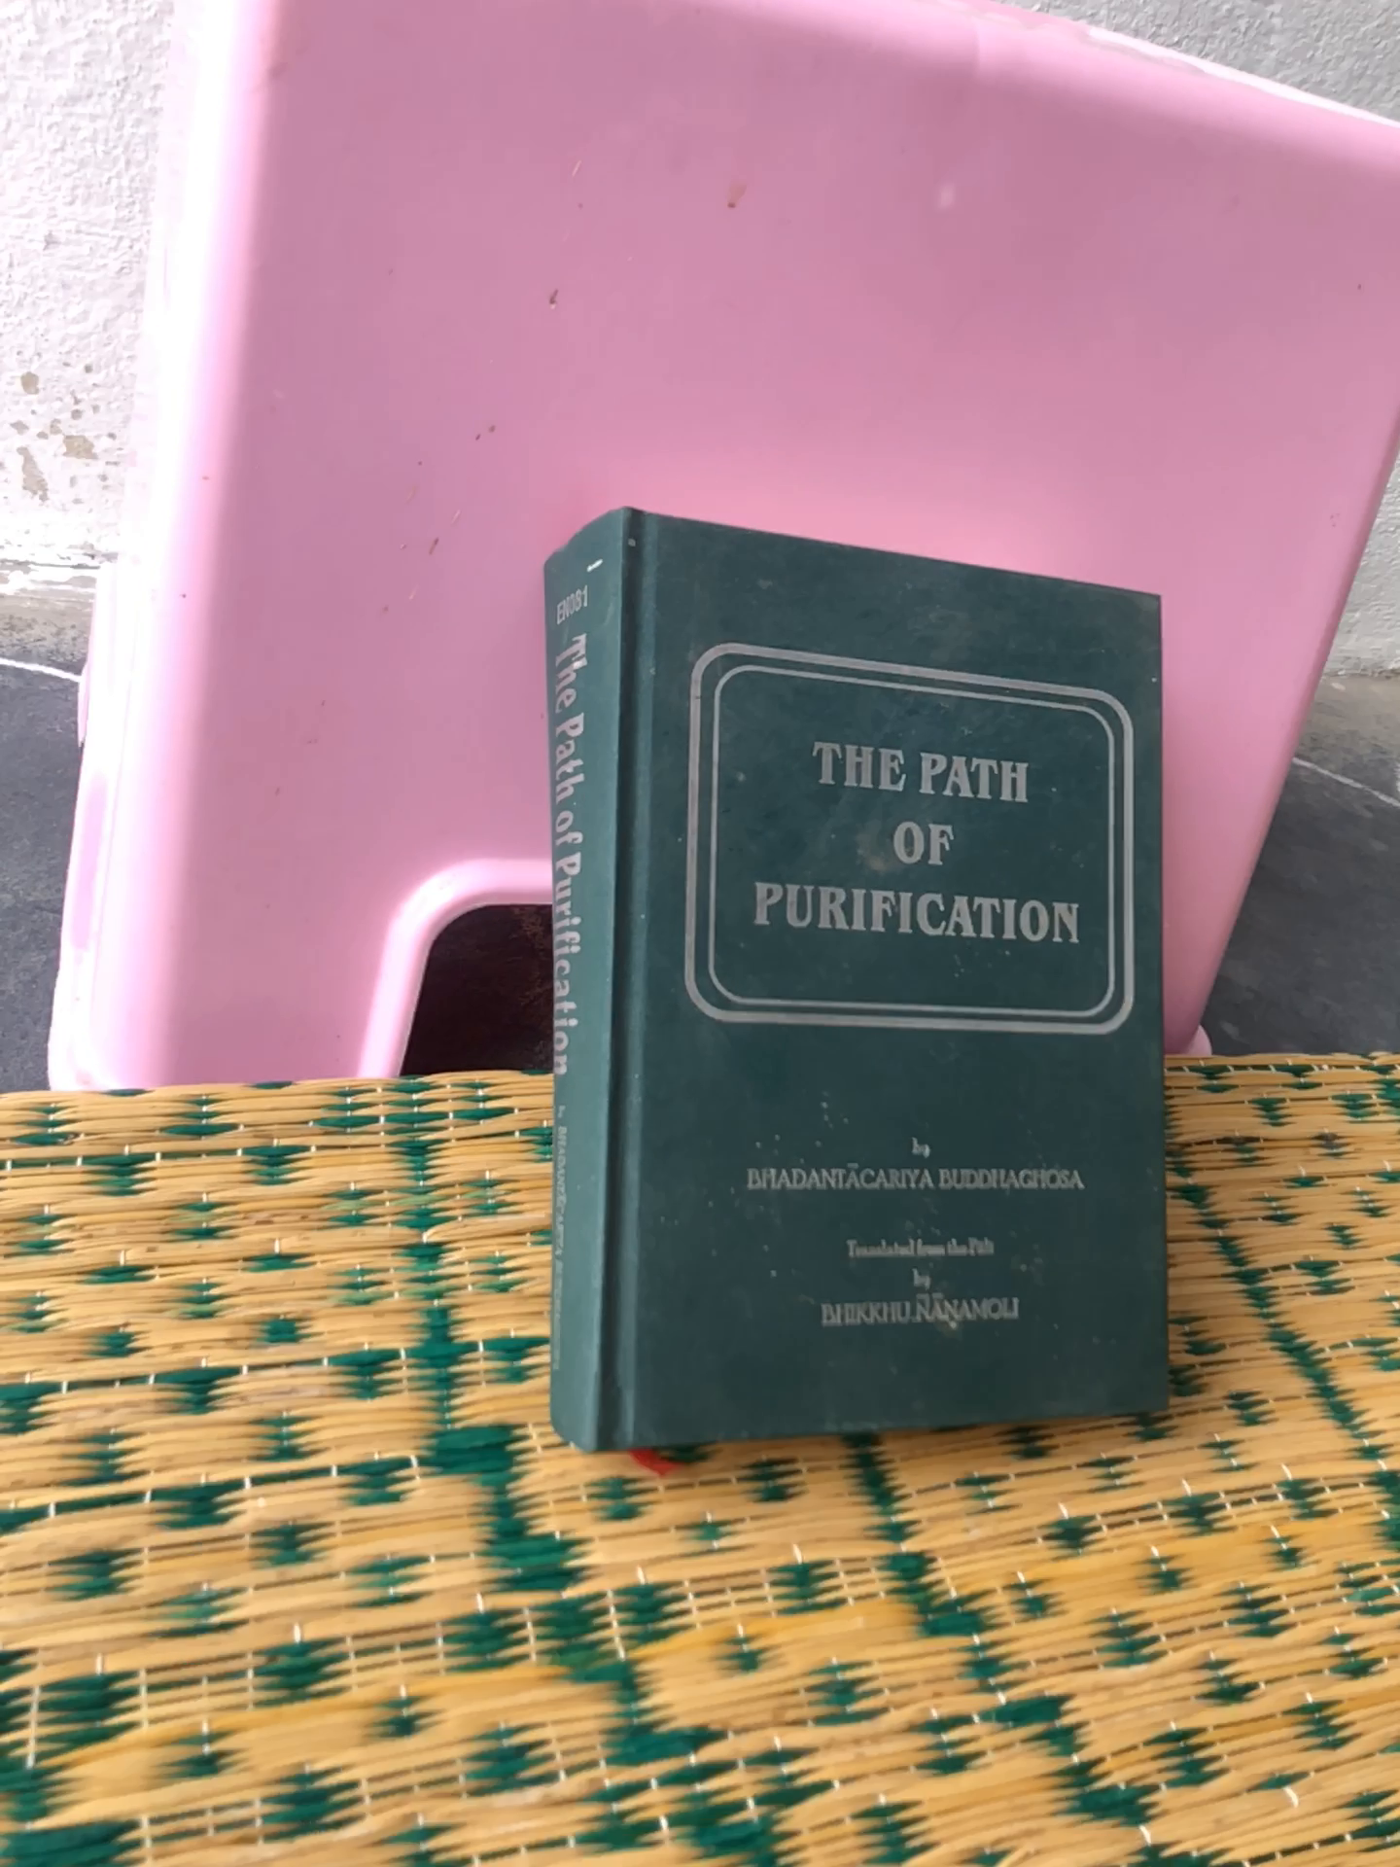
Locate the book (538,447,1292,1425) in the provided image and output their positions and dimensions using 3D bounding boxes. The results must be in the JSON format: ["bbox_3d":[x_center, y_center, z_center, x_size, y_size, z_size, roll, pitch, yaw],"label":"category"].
[{"bbox_3d":[0.047,0.005,0.388,0.160,0.080,0.210,3,78,-19],"label":"book"}]
